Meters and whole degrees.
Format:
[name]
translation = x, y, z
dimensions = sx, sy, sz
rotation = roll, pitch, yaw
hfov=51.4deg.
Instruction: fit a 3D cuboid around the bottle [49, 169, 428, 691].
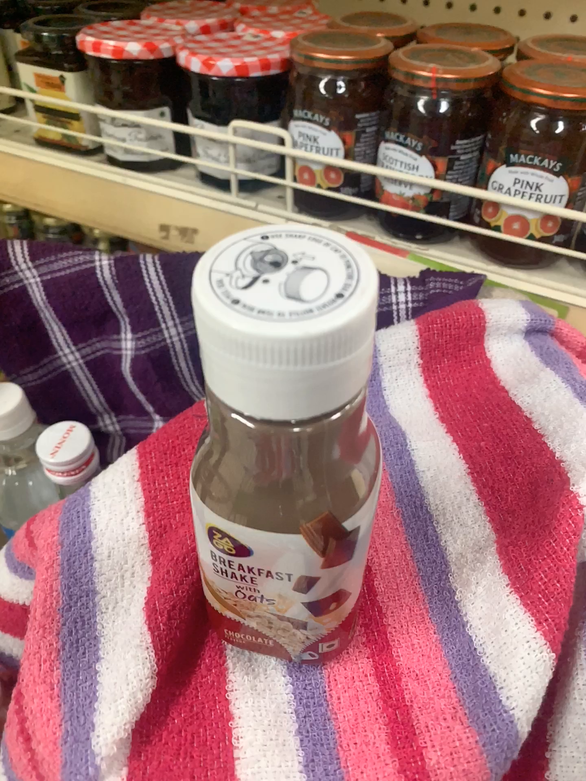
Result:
[bottle]
translation = -0.006, 0.022, 0.165
dimensions = 0.060, 0.139, 0.050
rotation = 10, 45, 10
